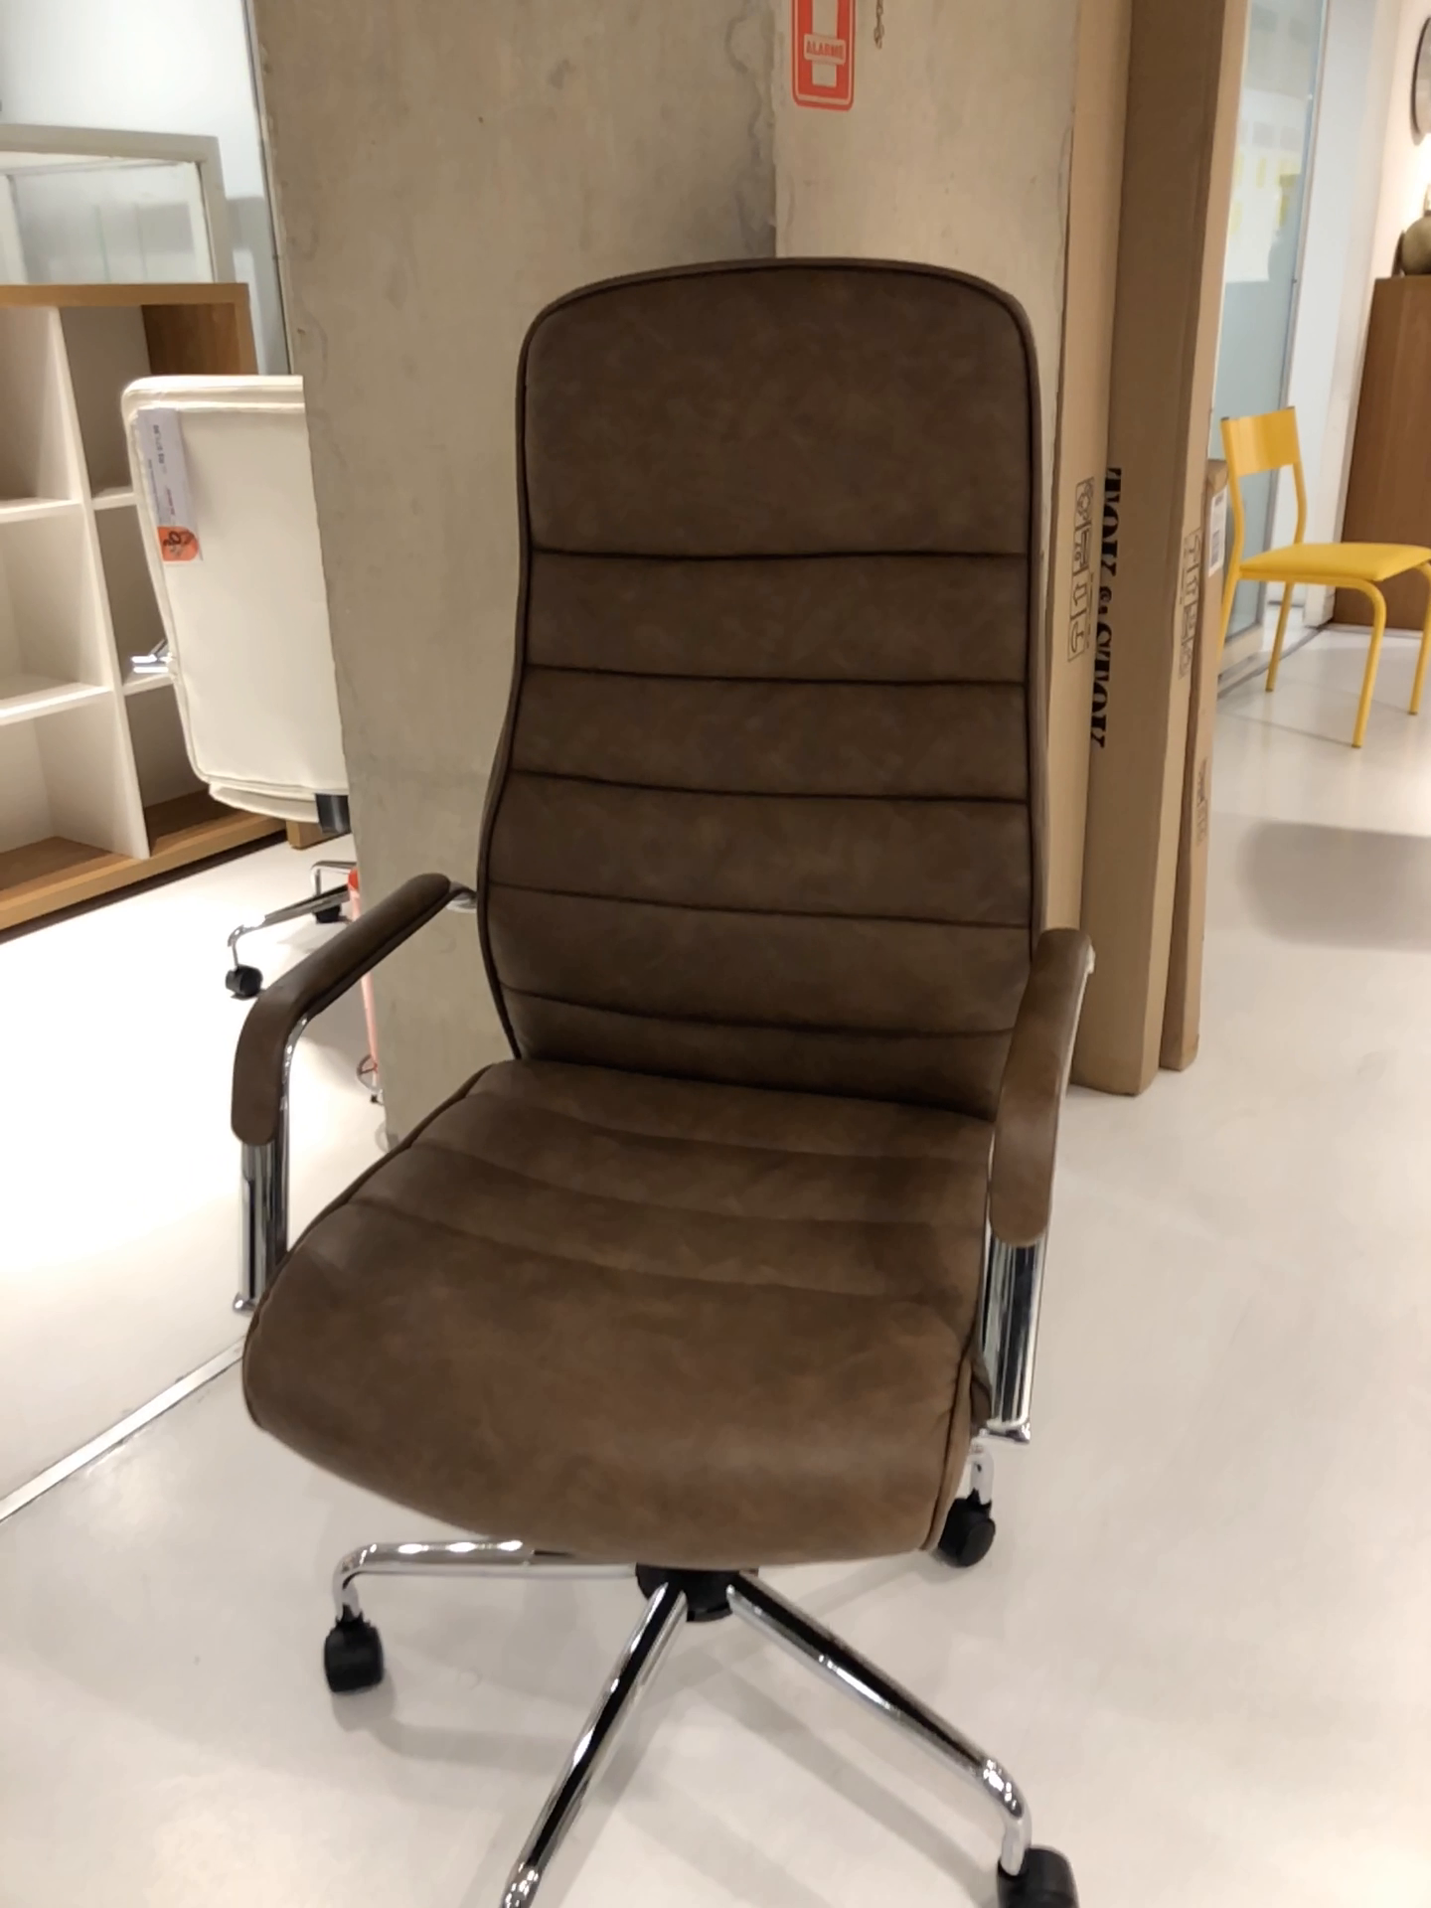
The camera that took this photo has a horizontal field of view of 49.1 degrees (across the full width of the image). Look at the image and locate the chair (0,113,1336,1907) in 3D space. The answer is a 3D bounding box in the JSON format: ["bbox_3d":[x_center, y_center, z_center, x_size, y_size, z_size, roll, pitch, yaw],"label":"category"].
[{"bbox_3d":[0.001,0.038,1.030,0.640,0.963,0.634,6,24,18],"label":"chair"}]
